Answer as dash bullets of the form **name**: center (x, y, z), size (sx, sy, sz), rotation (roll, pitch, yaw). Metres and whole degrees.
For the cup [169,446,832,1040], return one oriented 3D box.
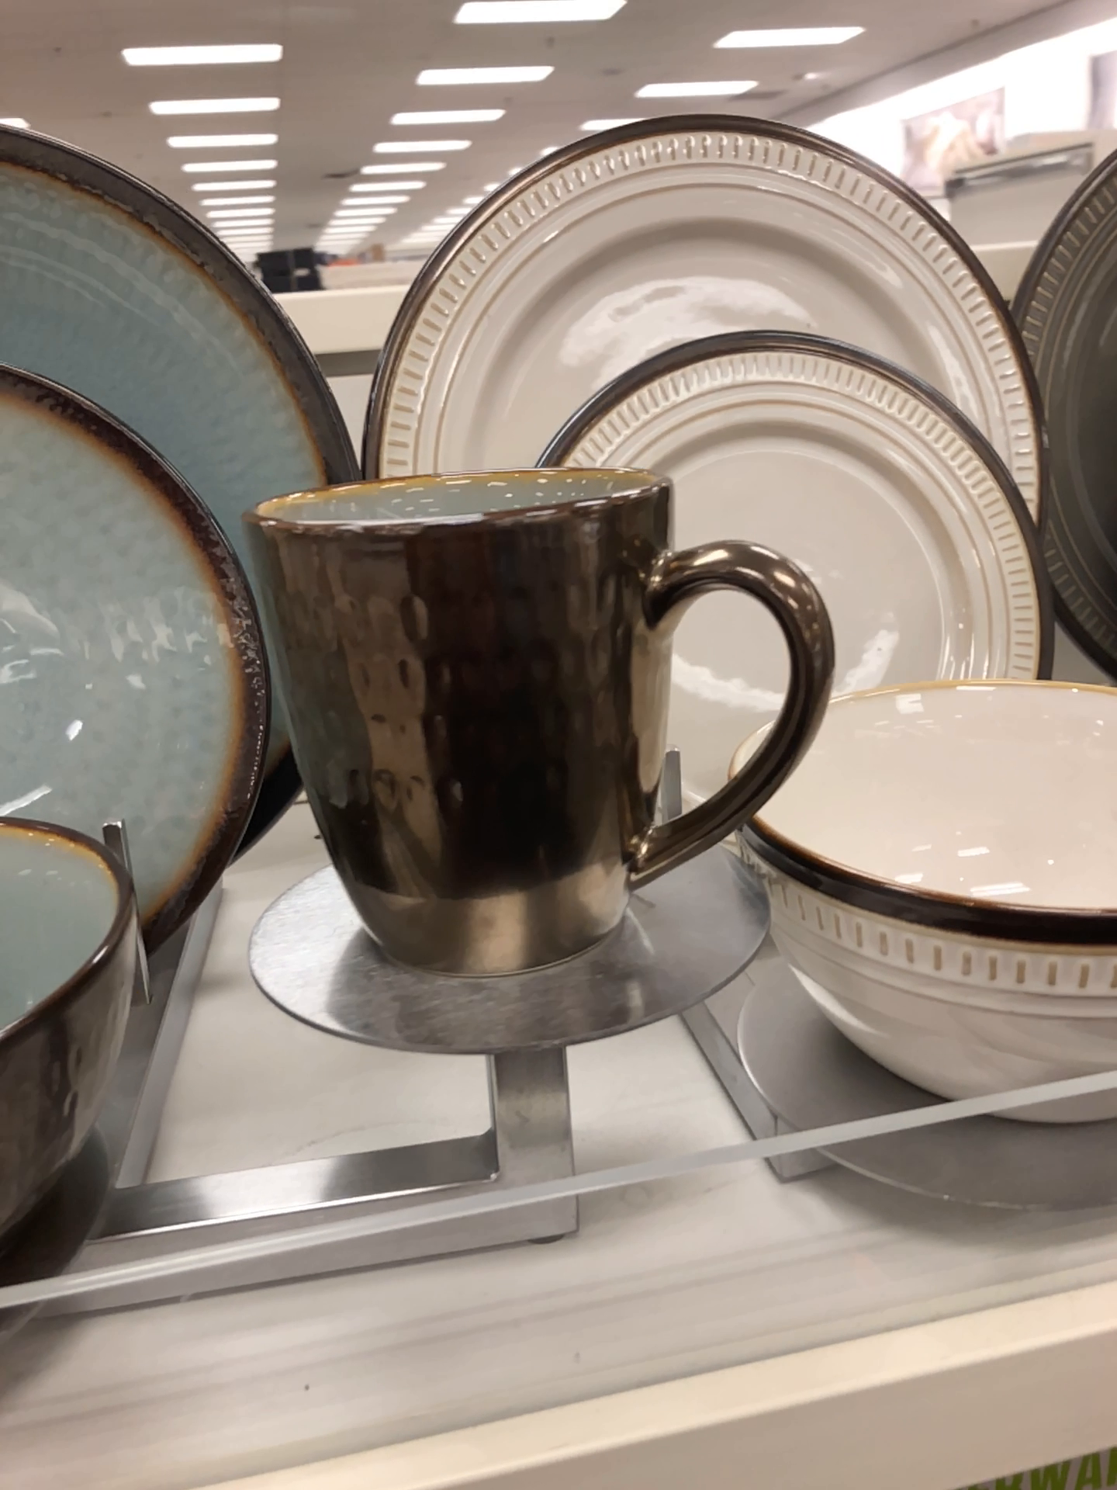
- **cup**: center (-0.003, -0.007, 0.272), size (0.117, 0.100, 0.084), rotation (2, 20, 16)
